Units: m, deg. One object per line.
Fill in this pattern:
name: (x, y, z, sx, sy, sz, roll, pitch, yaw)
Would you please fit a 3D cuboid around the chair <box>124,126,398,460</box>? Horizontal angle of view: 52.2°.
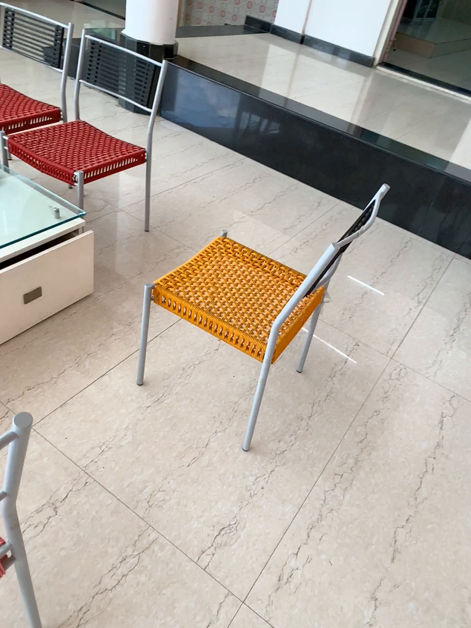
chair: (0.046, -0.083, 1.510, 0.521, 0.743, 0.534, 28, 40, 18)
